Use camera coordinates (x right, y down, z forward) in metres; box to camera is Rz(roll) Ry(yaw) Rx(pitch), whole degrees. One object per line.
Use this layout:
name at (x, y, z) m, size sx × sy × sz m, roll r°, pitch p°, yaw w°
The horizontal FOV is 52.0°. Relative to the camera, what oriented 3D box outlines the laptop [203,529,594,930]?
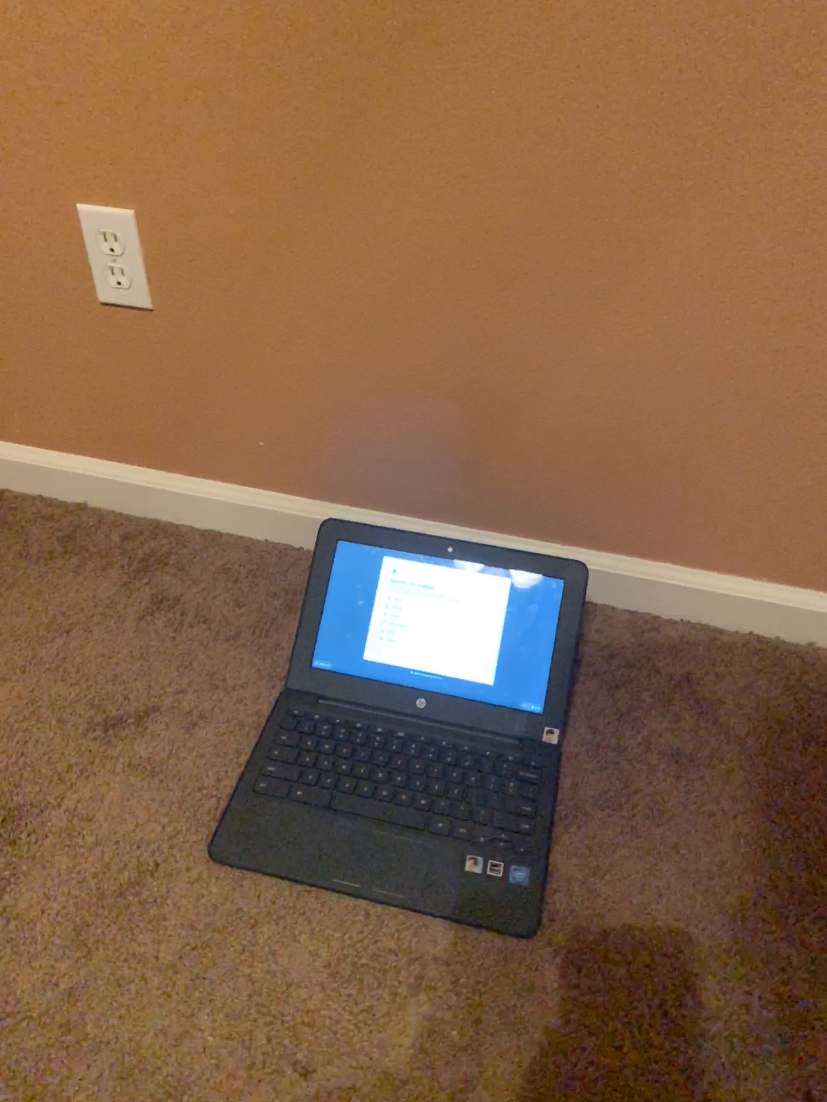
laptop at (0.008, 0.149, 0.831) m, size 0.288 × 0.124 × 0.333 m, roll 10°, pitch 40°, yaw 10°
